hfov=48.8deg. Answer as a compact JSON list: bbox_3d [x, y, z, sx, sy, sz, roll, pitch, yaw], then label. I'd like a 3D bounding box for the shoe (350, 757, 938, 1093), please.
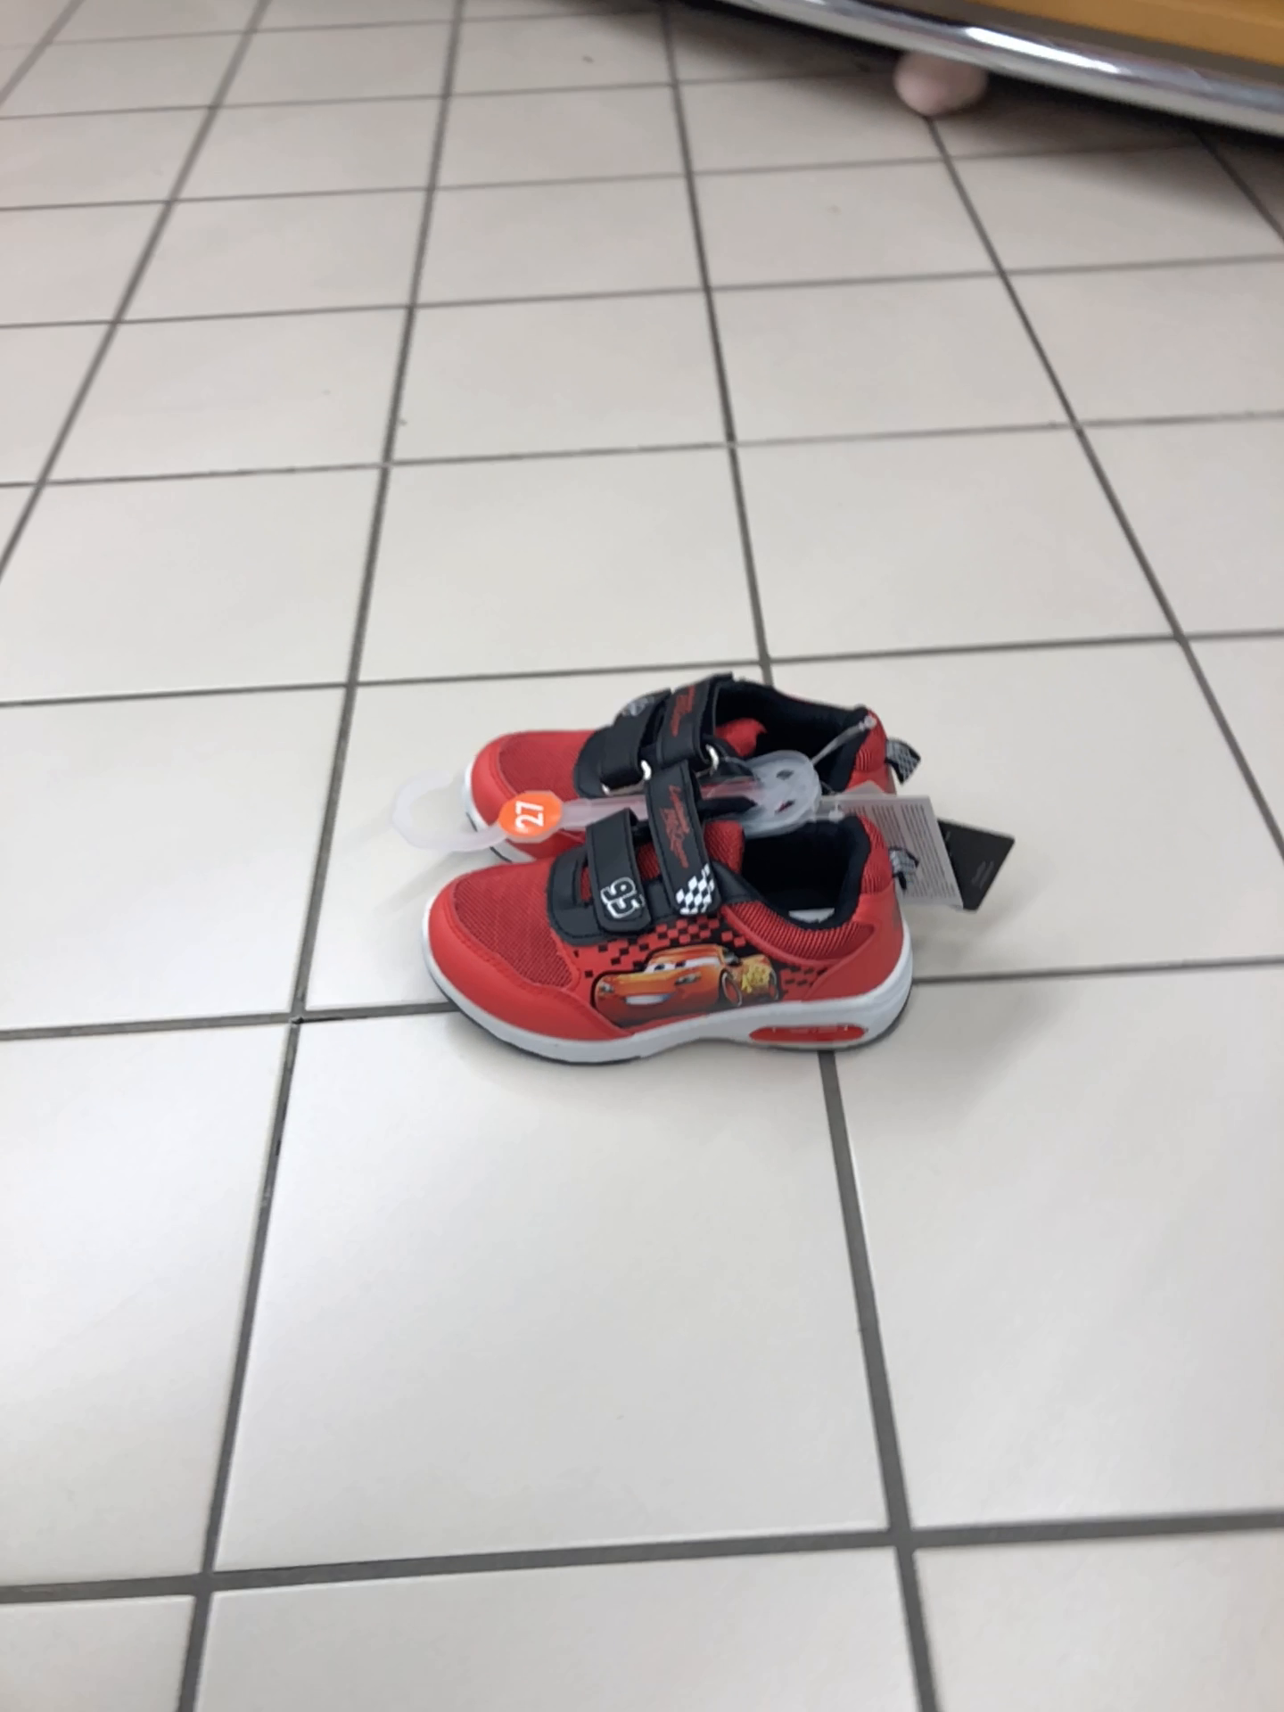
[{"bbox_3d":[0.005,0.024,0.522,0.194,0.074,0.088,2,46,6],"label":"shoe"}]

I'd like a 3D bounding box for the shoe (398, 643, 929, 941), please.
[{"bbox_3d":[0.012,-0.027,0.573,0.194,0.073,0.088,2,46,6],"label":"shoe"}]
